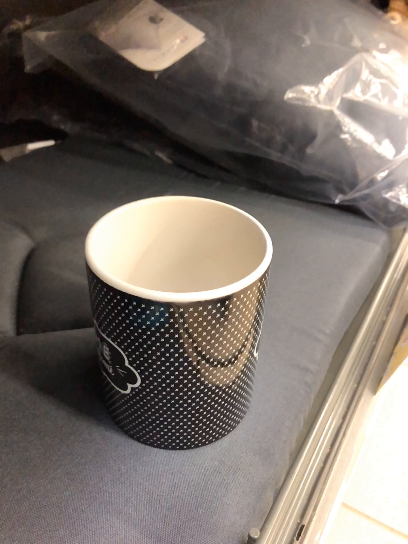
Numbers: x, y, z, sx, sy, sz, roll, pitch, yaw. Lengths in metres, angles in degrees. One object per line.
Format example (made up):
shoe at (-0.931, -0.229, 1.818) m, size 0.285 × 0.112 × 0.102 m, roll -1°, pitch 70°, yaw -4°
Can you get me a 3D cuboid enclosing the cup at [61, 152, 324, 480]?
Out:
cup at (-0.017, 0.012, 0.235) m, size 0.090 × 0.099 × 0.121 m, roll -9°, pitch 37°, yaw -14°
